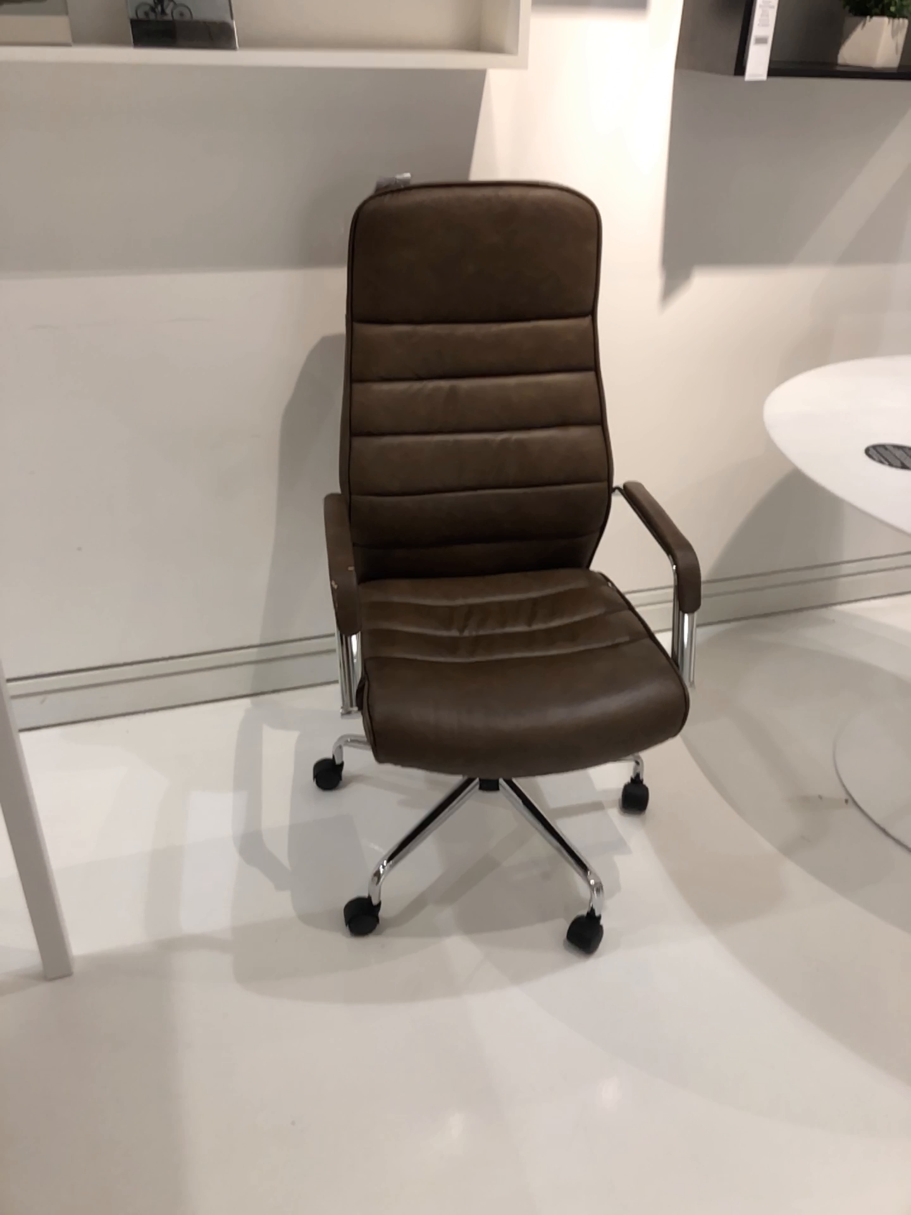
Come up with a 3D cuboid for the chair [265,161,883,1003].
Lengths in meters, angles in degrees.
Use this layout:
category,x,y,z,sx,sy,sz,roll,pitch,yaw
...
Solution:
category,x,y,z,sx,sy,sz,roll,pitch,yaw
chair,0.069,-0.081,1.722,0.700,1.171,0.786,-3,31,-9
